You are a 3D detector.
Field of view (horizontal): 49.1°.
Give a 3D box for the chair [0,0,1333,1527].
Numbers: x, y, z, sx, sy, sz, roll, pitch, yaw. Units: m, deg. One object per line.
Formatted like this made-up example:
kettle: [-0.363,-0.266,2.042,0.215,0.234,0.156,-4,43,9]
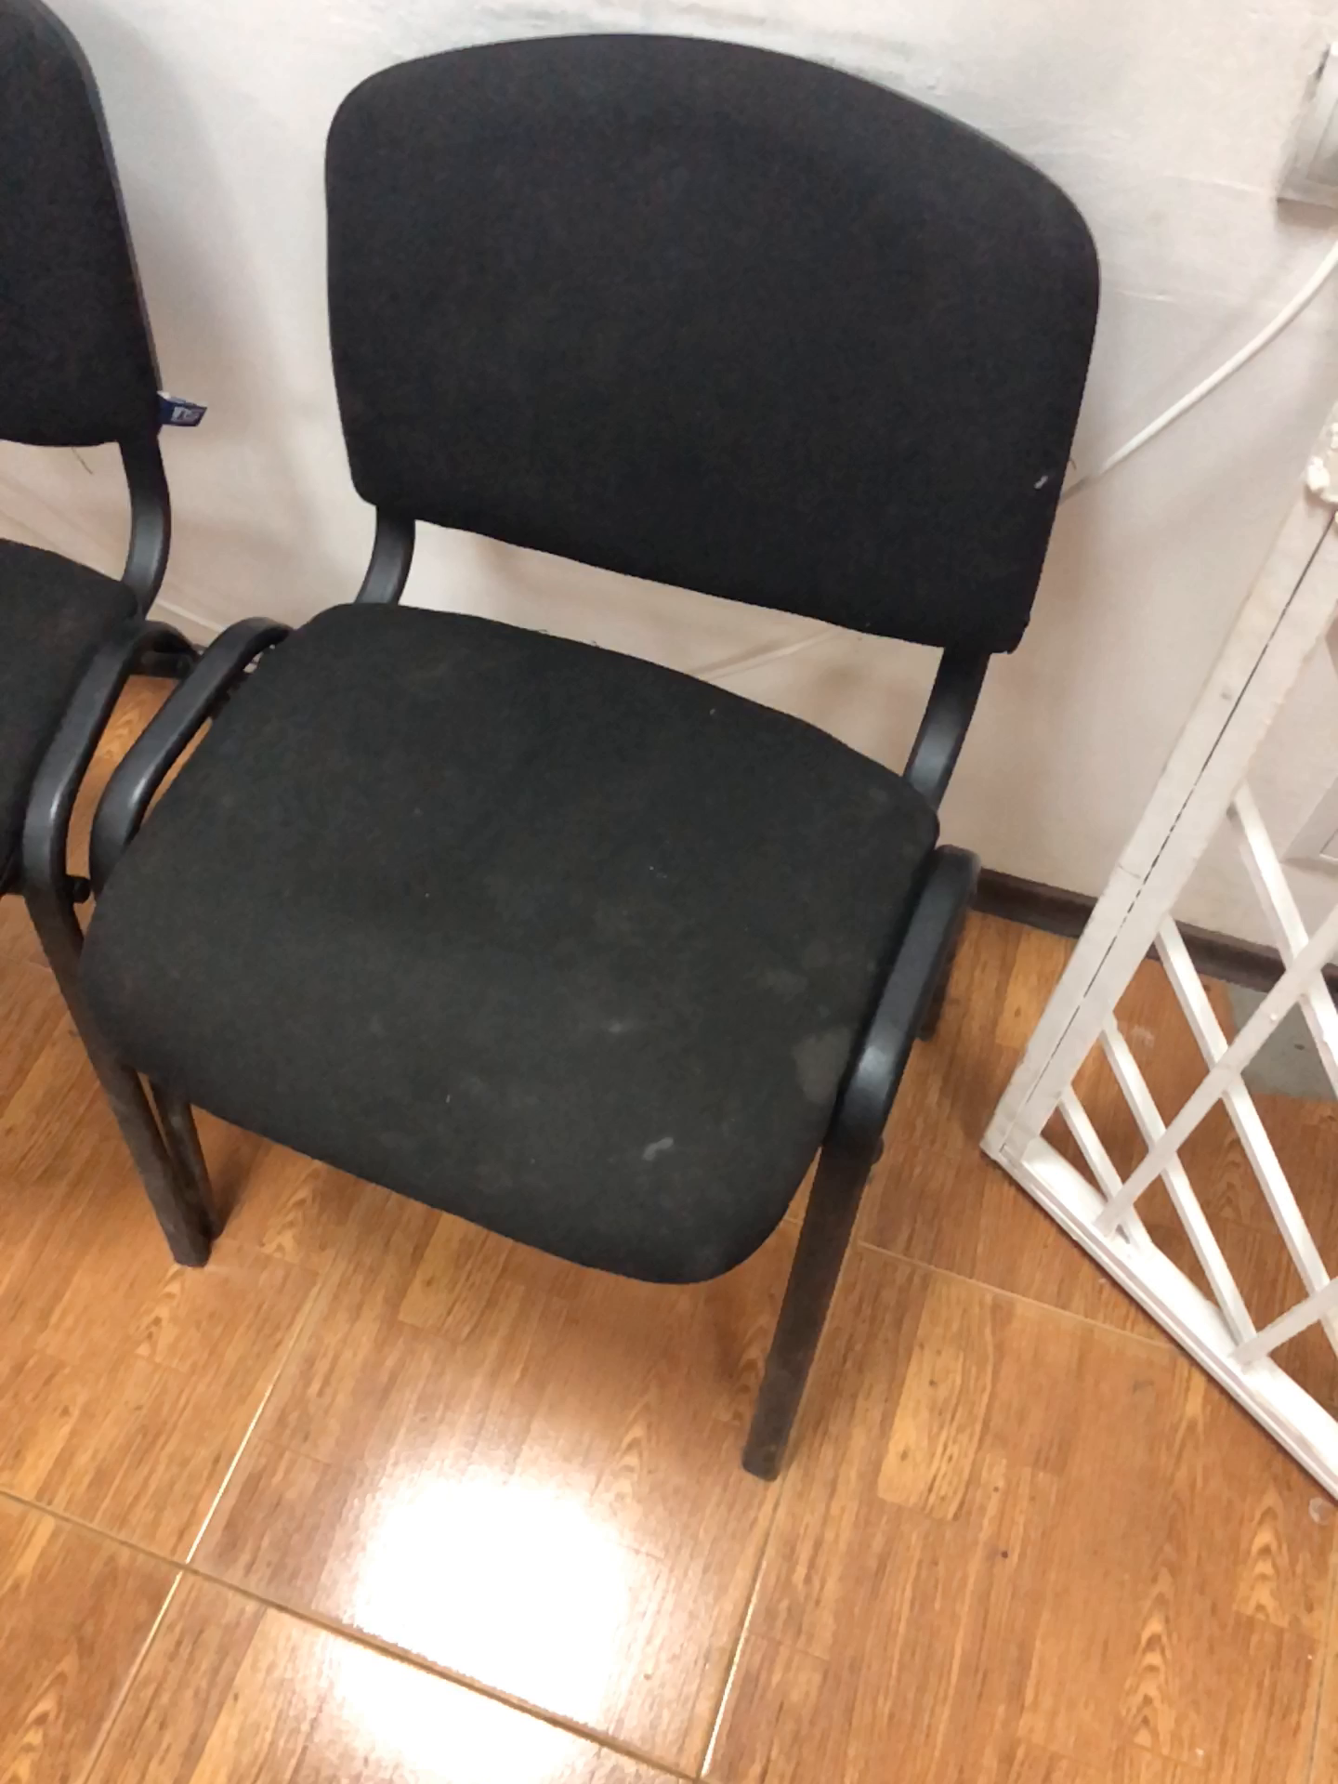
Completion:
chair: [-0.029,-0.060,0.967,0.570,0.688,0.621,19,61,12]
